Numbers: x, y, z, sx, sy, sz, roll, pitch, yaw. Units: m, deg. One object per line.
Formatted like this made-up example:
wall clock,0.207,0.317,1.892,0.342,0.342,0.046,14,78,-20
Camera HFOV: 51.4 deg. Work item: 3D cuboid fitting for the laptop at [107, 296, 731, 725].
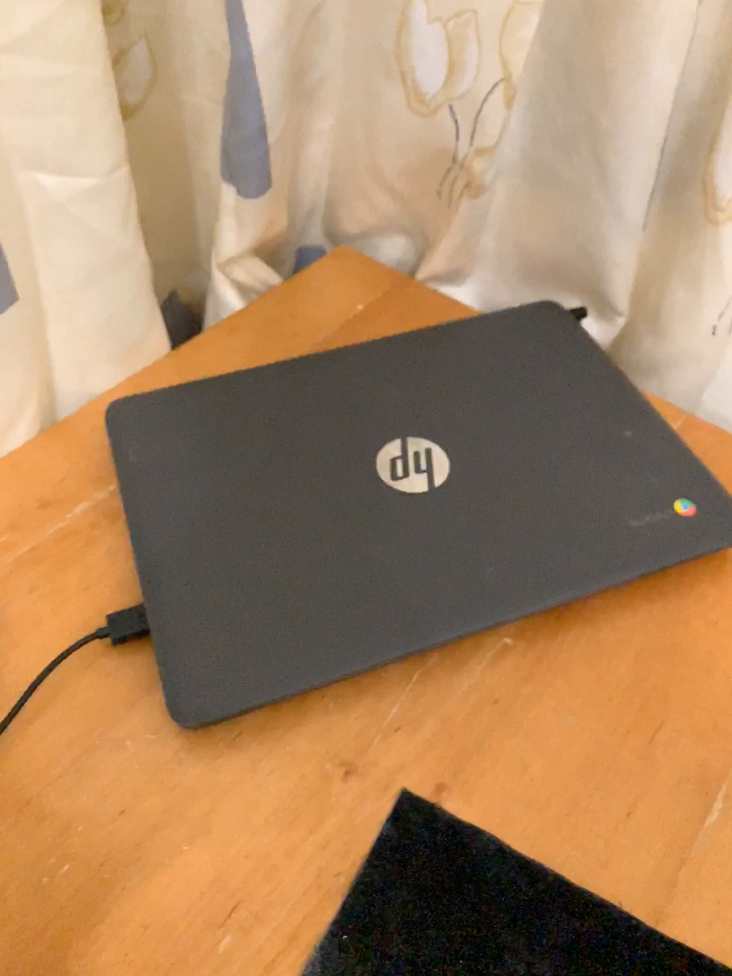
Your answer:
laptop,0.020,-0.014,0.368,0.261,0.004,0.186,-16,50,-13
